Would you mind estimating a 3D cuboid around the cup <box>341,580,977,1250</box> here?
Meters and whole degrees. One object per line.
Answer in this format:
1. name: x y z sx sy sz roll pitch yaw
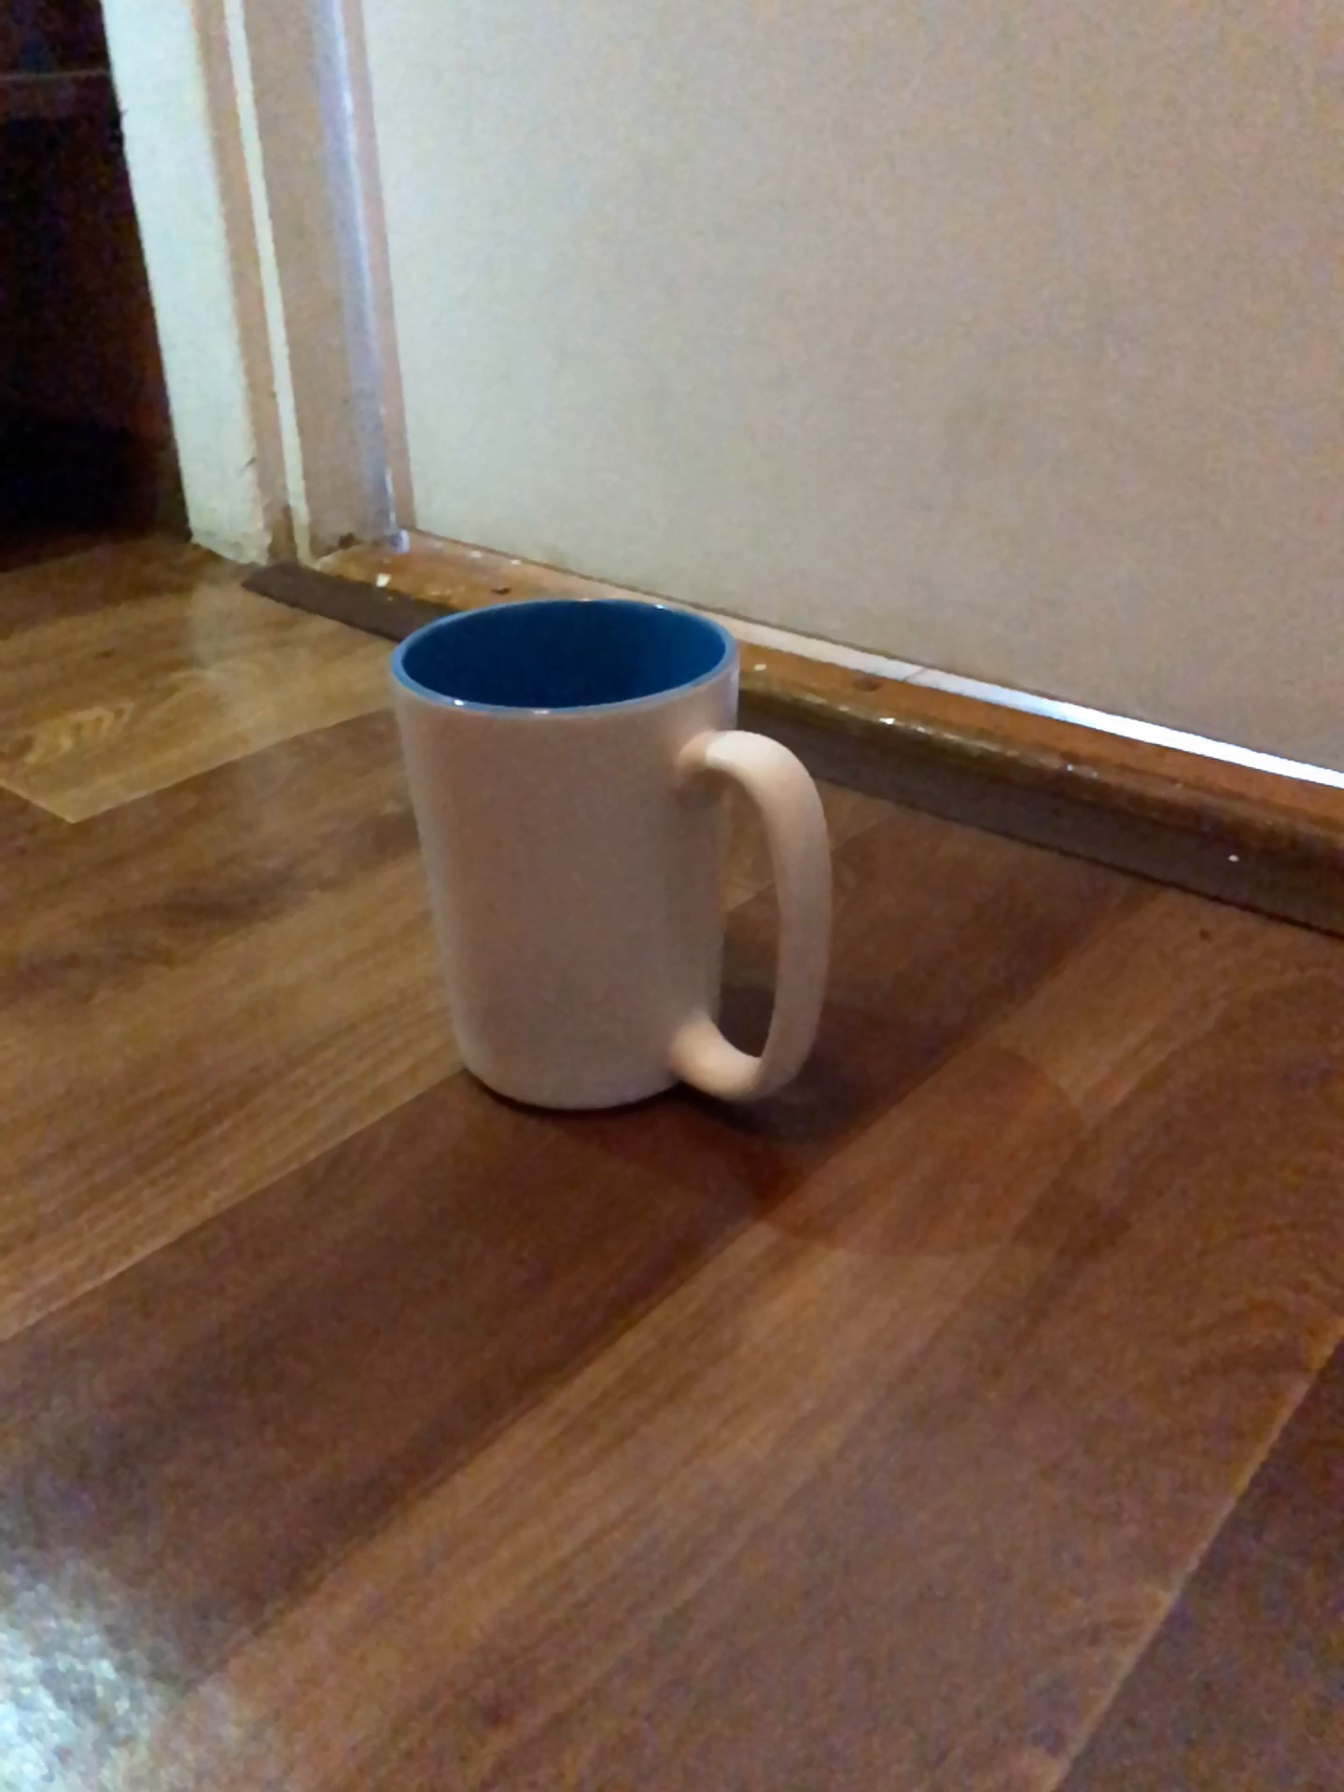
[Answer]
1. cup: -0.005 -0.005 0.382 0.089 0.112 0.130 -26 37 -38
